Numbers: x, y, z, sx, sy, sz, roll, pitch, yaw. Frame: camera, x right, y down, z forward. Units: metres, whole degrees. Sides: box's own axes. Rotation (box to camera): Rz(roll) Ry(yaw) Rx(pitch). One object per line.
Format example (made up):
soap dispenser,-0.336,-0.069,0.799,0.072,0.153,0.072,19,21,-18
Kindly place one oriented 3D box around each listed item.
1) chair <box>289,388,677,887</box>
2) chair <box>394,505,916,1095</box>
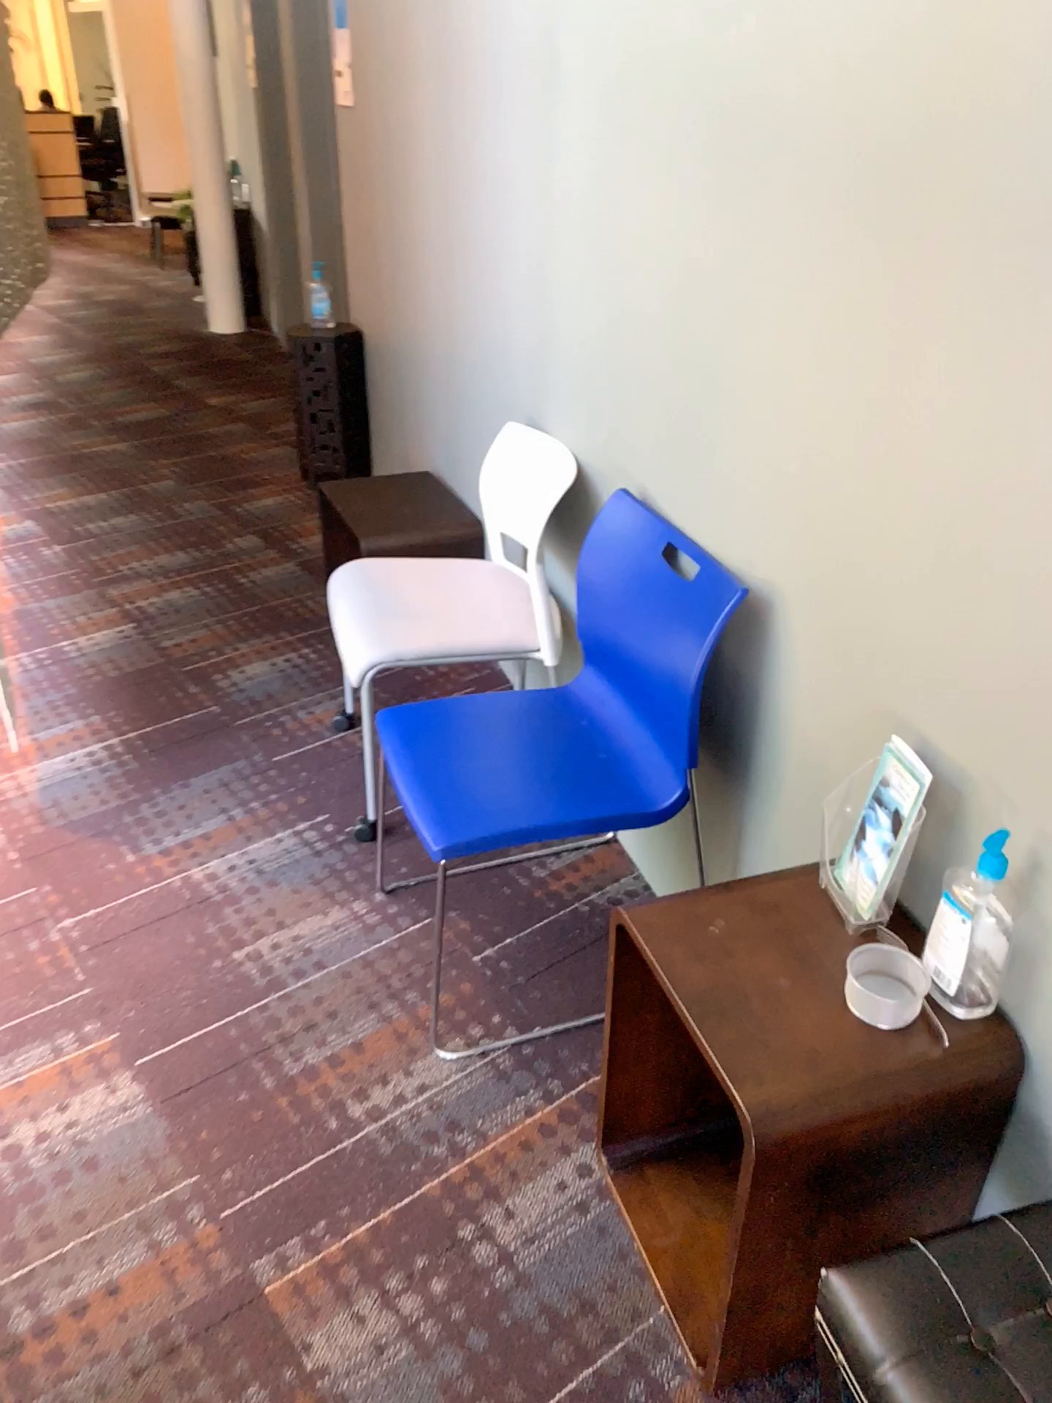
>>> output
chair,-0.130,-0.162,2.321,0.560,0.795,0.594,-13,38,-24
chair,0.149,0.132,1.918,0.619,0.796,0.594,-4,30,-18
